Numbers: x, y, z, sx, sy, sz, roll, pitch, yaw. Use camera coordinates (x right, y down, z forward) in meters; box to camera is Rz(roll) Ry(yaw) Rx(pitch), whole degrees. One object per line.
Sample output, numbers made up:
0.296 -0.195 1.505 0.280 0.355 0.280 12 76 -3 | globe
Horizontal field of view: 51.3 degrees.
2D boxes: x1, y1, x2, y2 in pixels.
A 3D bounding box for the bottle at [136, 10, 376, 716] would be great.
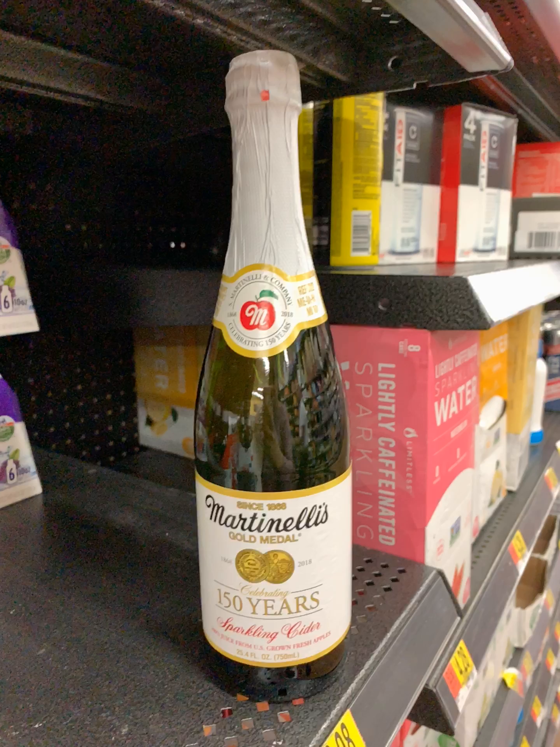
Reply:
-0.005 0.003 0.293 0.089 0.299 0.090 1 13 0 | bottle
